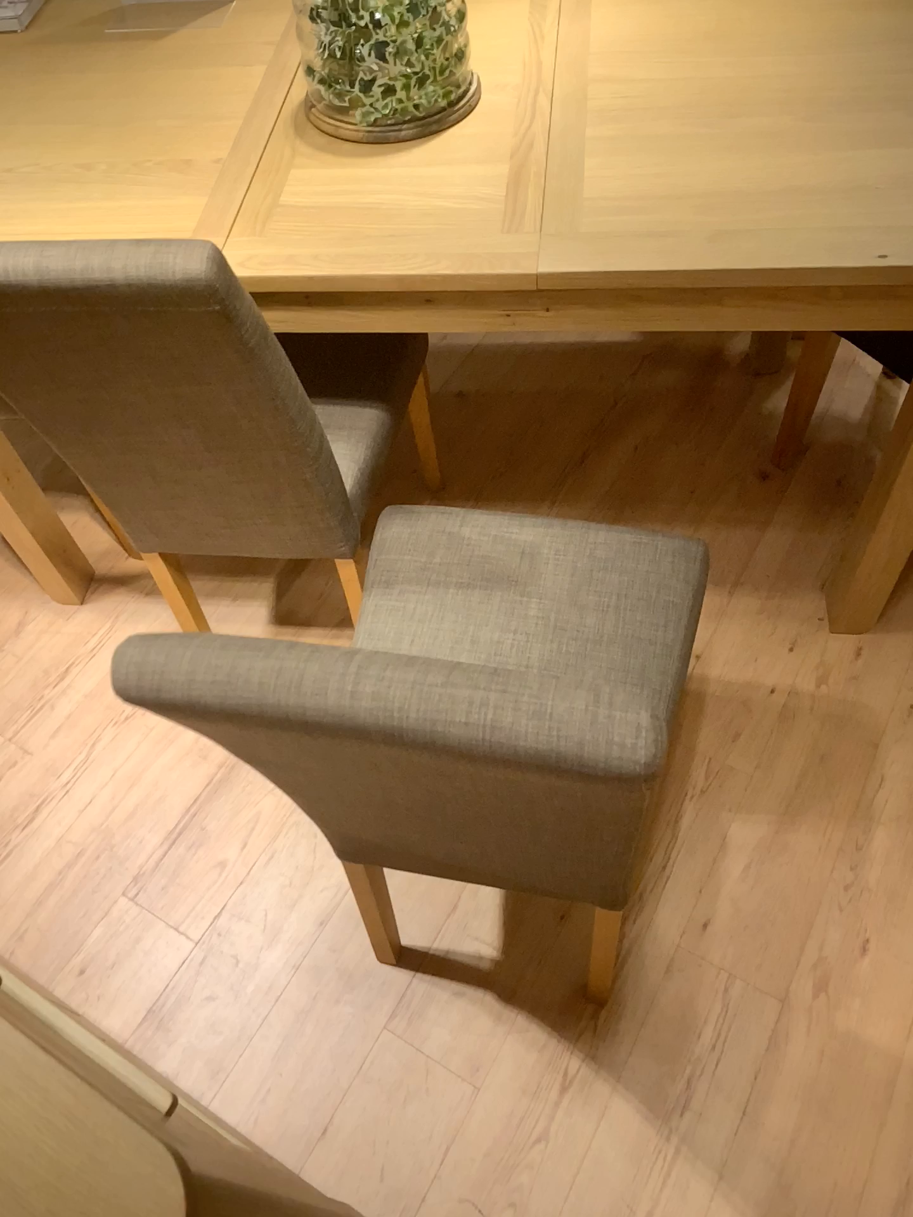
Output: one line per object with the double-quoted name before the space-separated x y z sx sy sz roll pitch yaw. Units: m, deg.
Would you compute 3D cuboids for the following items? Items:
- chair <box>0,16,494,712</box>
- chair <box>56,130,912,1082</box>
"chair" -0.240 -0.282 1.288 0.497 0.766 0.507 2 54 8
"chair" 0.107 0.067 1.030 0.507 0.885 0.608 6 55 11
